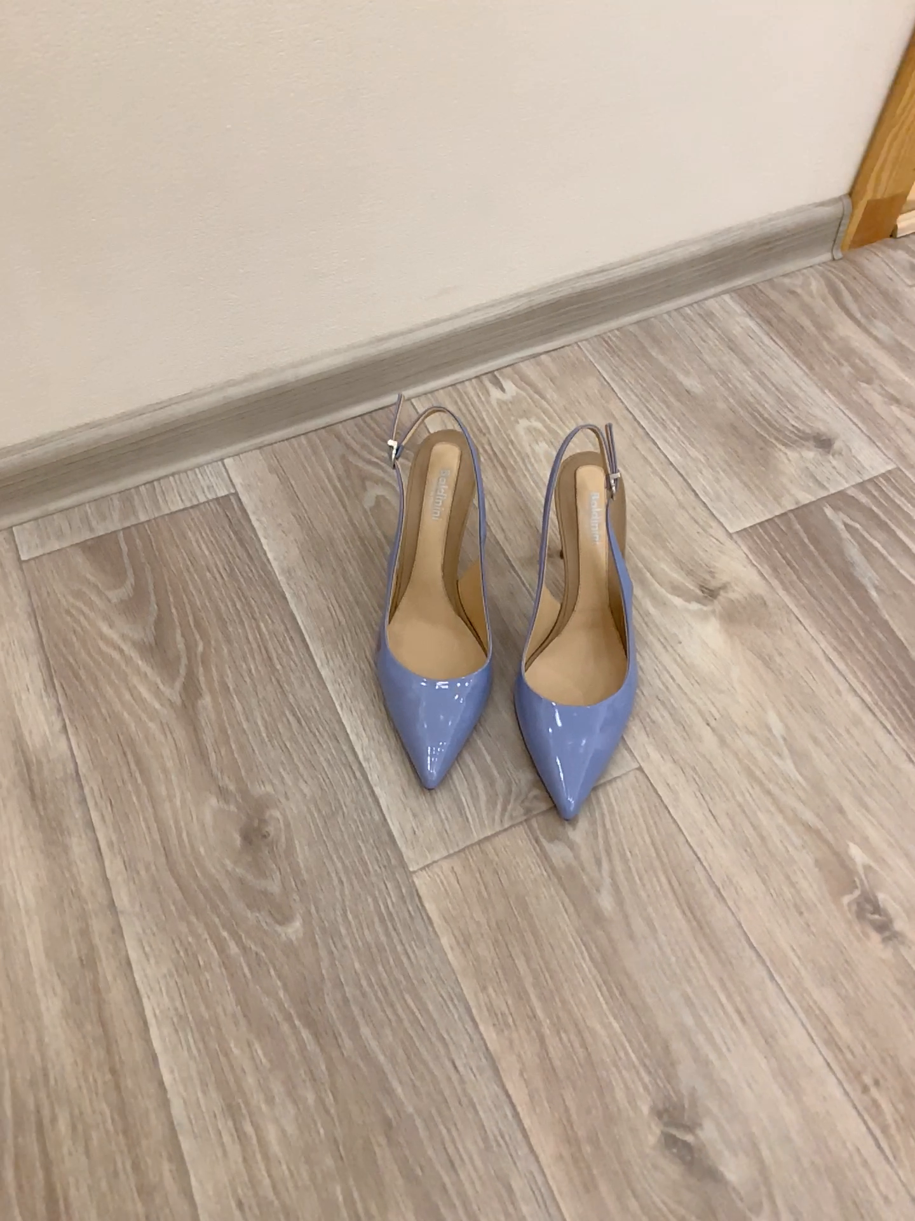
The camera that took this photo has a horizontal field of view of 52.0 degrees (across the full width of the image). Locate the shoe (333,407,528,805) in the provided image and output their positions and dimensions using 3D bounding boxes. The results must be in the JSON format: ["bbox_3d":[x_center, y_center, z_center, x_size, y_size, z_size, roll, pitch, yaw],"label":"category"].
[{"bbox_3d":[-0.011,-0.008,0.598,0.089,0.100,0.231,6,56,2],"label":"shoe"}]

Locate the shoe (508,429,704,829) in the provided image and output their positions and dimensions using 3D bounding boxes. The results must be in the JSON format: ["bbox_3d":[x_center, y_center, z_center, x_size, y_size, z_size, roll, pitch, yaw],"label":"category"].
[{"bbox_3d":[0.082,0.007,0.586,0.089,0.100,0.231,1,56,-1],"label":"shoe"}]
